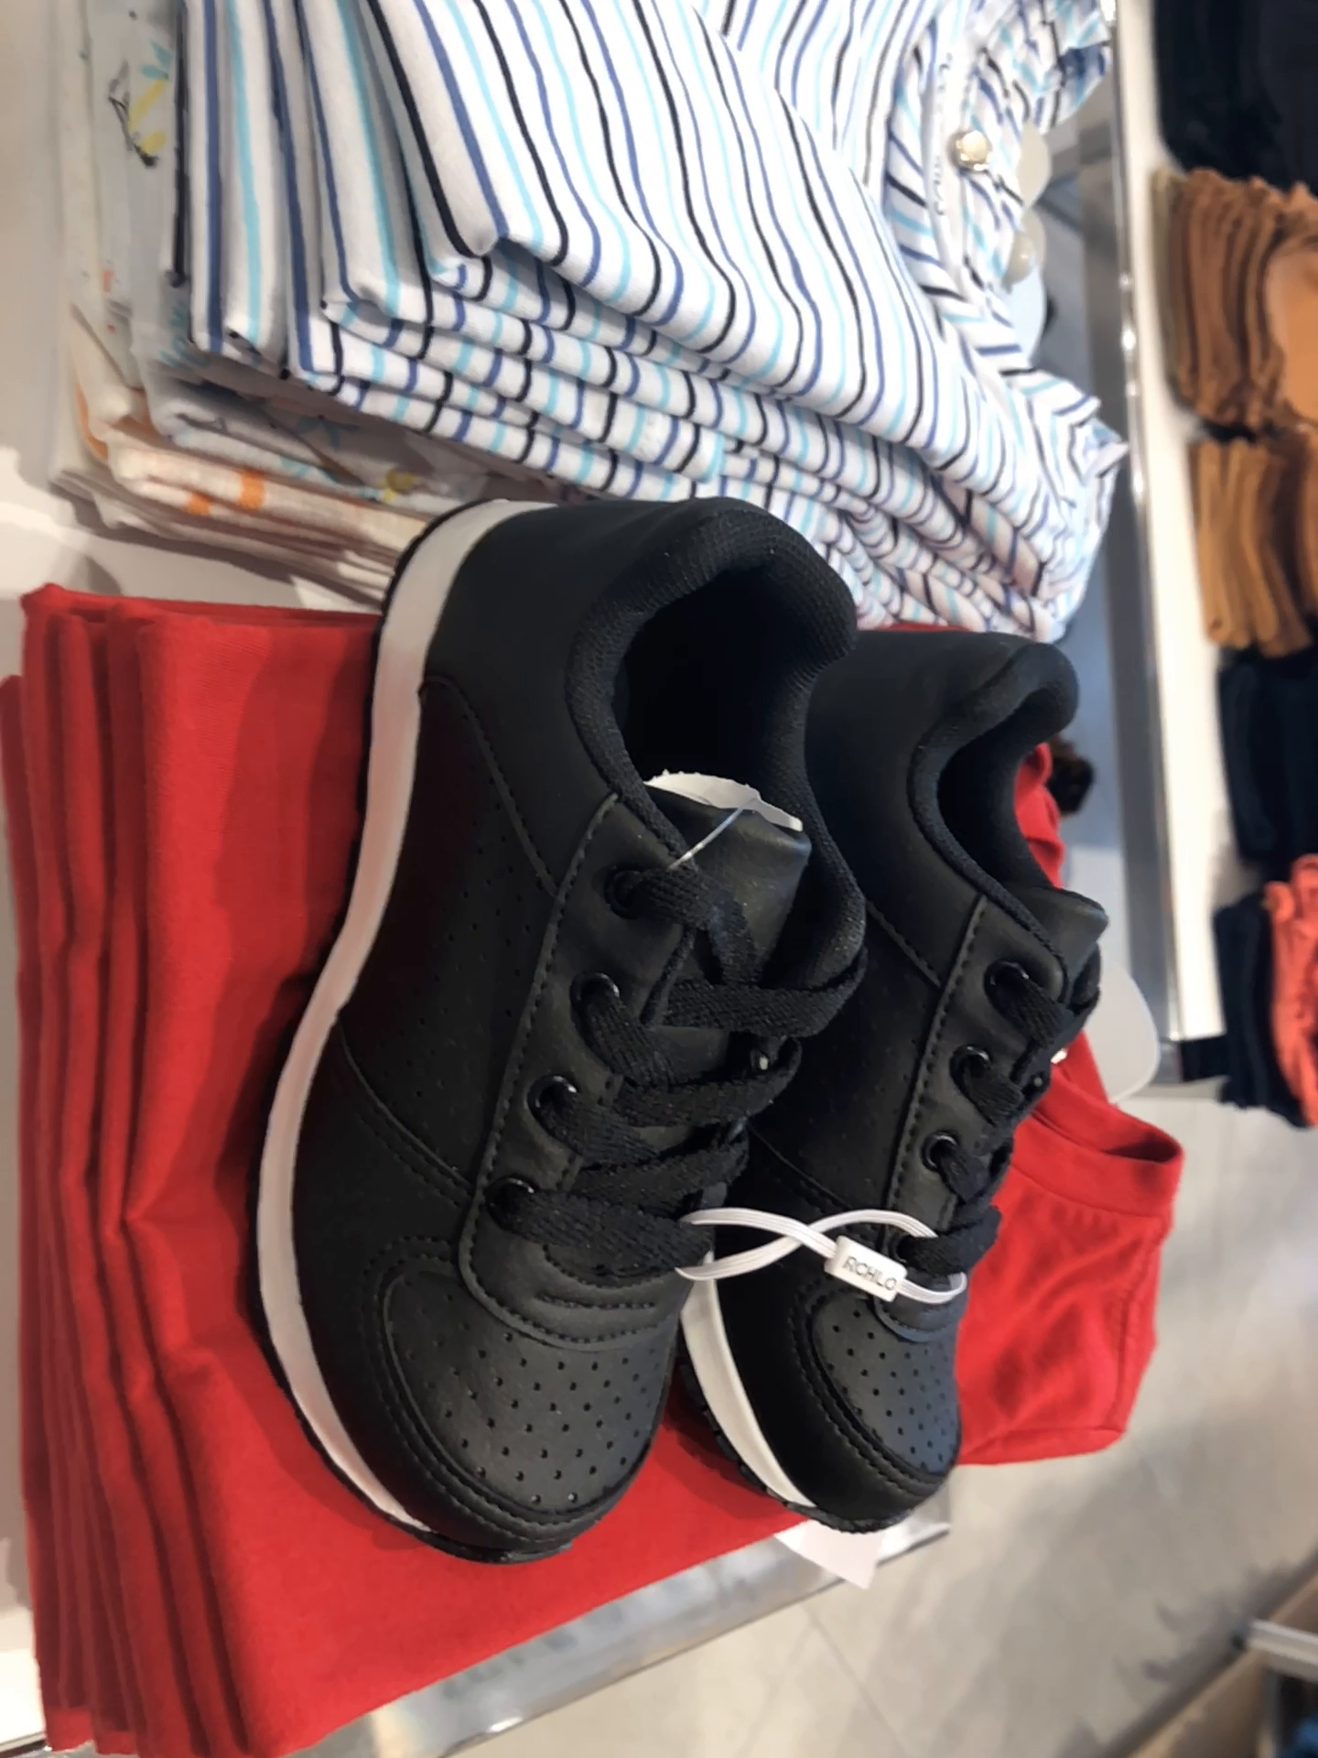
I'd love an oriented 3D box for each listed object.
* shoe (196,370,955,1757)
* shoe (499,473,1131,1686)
[{"bbox_3d":[-0.009,0.027,0.241,0.081,0.079,0.180,12,79,-52],"label":"shoe"},{"bbox_3d":[0.031,0.034,0.289,0.081,0.086,0.190,5,81,-56],"label":"shoe"}]
